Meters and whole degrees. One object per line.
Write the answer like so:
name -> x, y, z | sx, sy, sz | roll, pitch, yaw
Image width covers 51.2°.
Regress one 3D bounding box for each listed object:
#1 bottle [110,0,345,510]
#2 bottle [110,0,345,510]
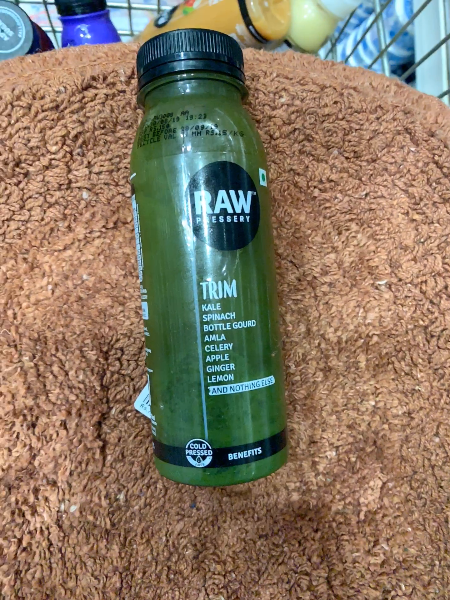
bottle -> -0.003, -0.017, 0.166 | 0.060, 0.050, 0.150 | -4, 89, -18
bottle -> -0.003, -0.017, 0.166 | 0.060, 0.050, 0.150 | -4, 89, -18
